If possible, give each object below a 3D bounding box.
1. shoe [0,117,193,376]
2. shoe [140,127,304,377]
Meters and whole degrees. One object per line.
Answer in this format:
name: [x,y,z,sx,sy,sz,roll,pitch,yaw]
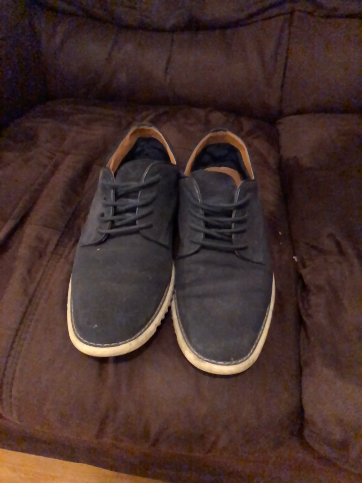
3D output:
shoe: [-0.062,-0.019,0.437,0.120,0.099,0.292,5,43,5]
shoe: [0.038,-0.014,0.428,0.120,0.079,0.292,2,43,2]
